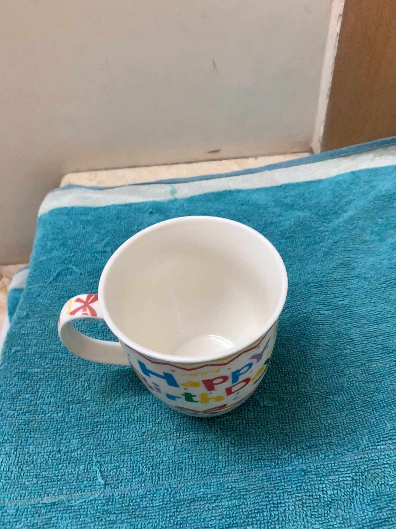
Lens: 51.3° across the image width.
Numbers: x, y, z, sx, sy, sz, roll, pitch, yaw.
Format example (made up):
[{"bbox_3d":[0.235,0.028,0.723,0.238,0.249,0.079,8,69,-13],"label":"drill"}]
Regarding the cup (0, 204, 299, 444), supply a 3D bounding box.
[{"bbox_3d":[-0.020,0.037,0.238,0.130,0.099,0.091,-3,47,3],"label":"cup"}]
